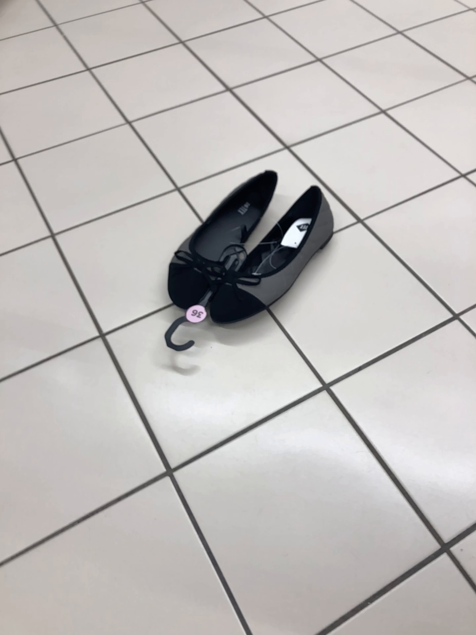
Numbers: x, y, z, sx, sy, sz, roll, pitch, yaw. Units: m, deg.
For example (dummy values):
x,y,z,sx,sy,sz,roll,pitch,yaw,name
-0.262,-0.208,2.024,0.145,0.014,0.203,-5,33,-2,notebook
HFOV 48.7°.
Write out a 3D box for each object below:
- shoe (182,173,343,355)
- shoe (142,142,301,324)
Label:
x,y,z,sx,sy,sz,roll,pitch,yaw,name
0.042,-0.077,0.670,0.078,0.081,0.243,18,55,32,shoe
-0.018,-0.117,0.698,0.078,0.081,0.243,36,60,-1,shoe
